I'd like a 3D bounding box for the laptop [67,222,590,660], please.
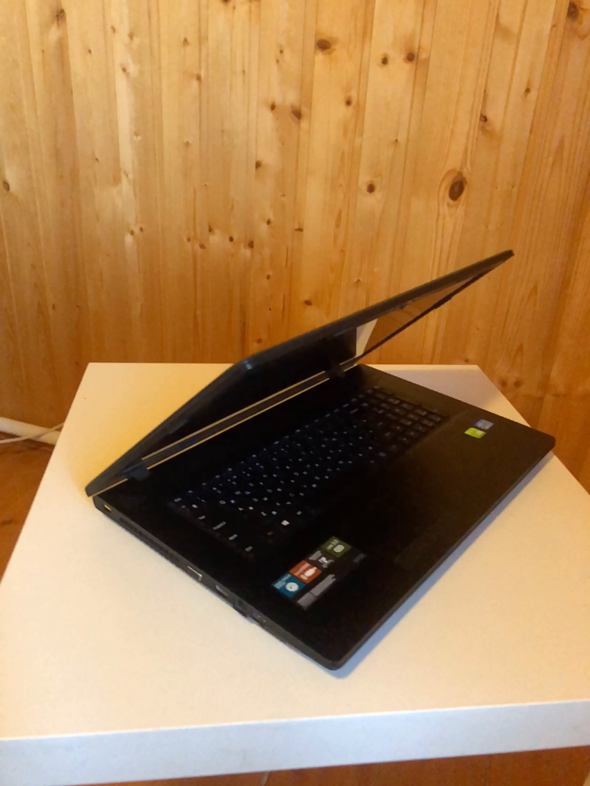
[{"bbox_3d":[0.055,-0.015,0.608,0.272,0.184,0.412,23,33,34],"label":"laptop"}]
